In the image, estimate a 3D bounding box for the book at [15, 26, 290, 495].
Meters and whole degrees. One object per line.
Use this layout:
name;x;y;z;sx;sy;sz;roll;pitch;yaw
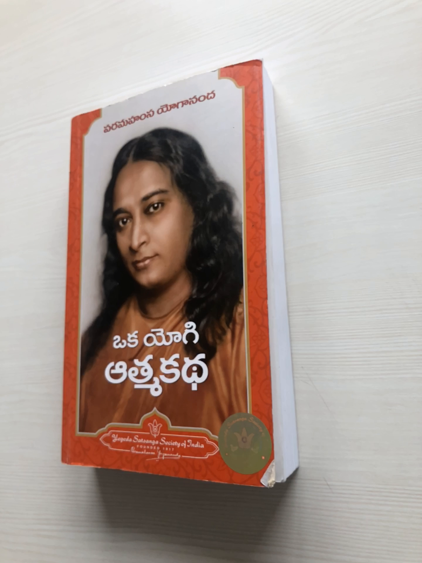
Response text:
book;-0.038;-0.011;0.278;0.150;0.040;0.233;-6;78;25
